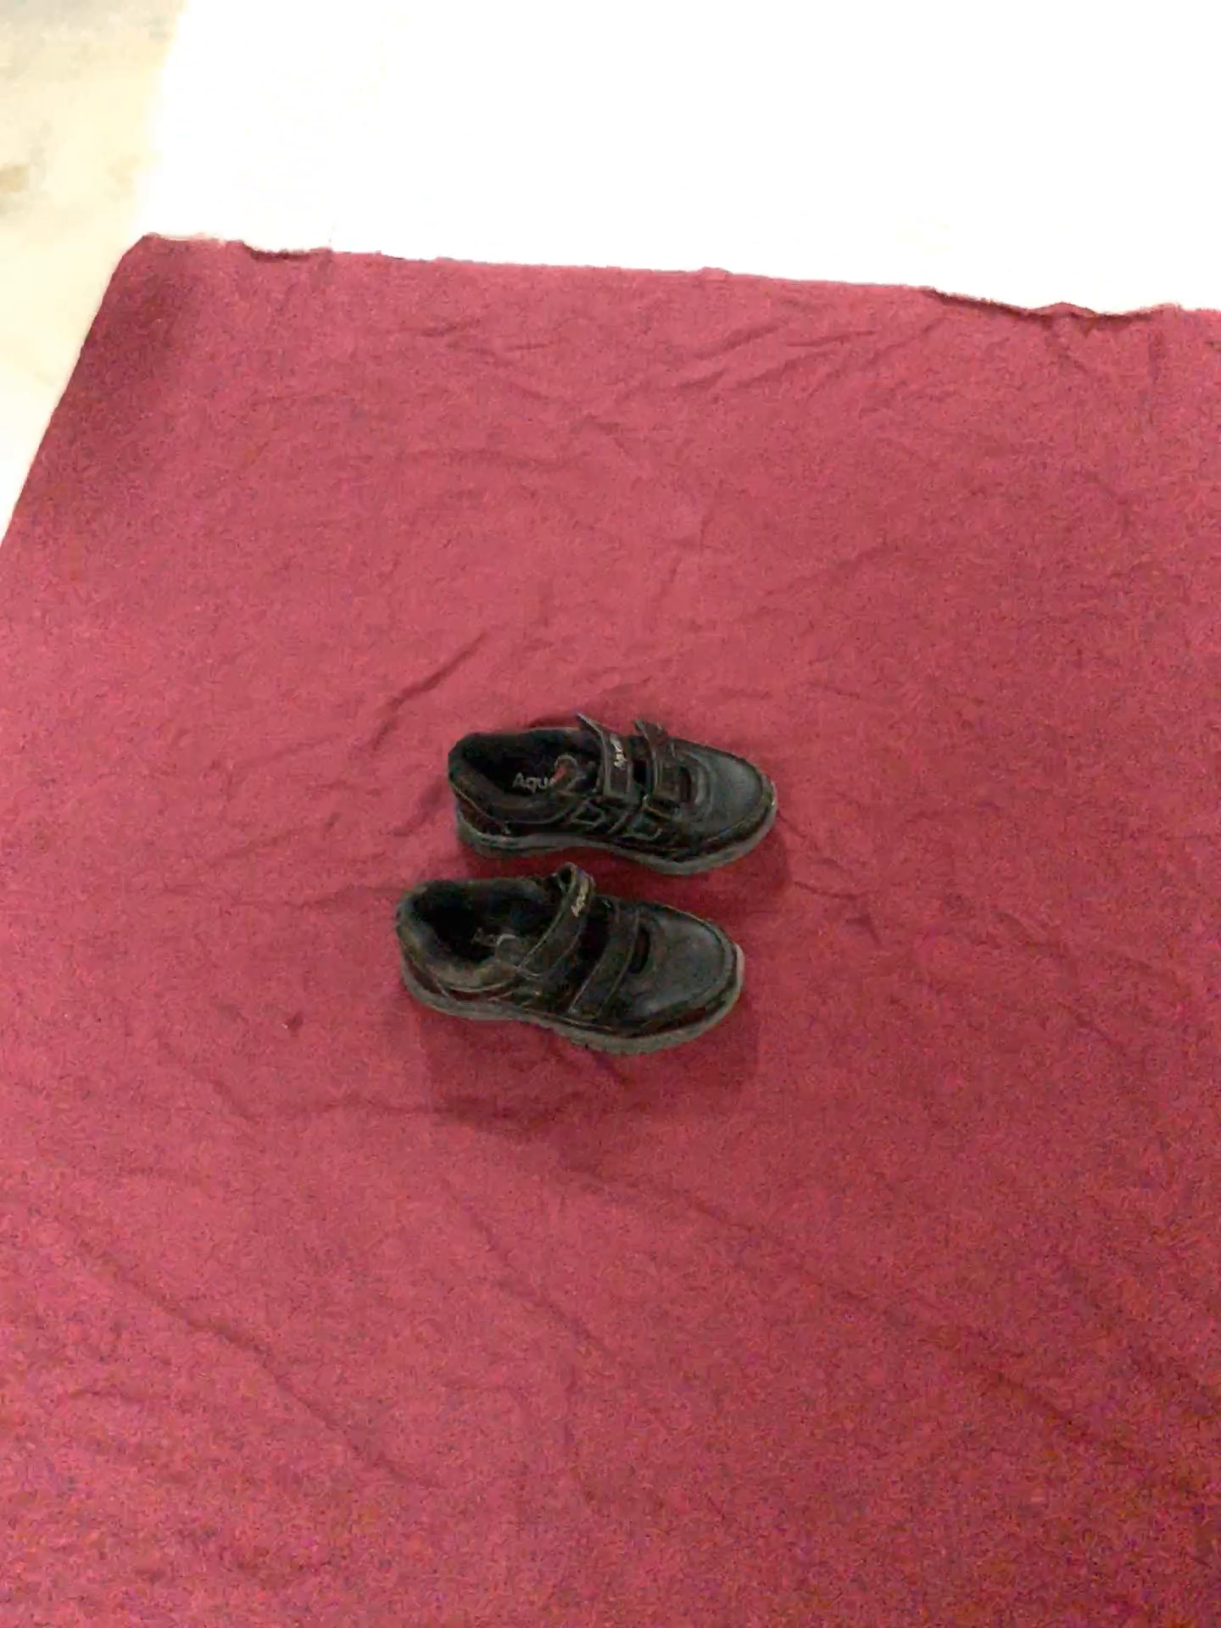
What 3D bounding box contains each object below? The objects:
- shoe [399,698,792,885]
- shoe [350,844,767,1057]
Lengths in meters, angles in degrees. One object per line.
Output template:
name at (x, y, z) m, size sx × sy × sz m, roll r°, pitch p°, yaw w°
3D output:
shoe at (-0.006, -0.012, 0.718) m, size 0.210 × 0.070 × 0.070 m, roll 4°, pitch 66°, yaw 4°
shoe at (-0.025, 0.075, 0.687) m, size 0.210 × 0.070 × 0.070 m, roll 7°, pitch 66°, yaw 6°
